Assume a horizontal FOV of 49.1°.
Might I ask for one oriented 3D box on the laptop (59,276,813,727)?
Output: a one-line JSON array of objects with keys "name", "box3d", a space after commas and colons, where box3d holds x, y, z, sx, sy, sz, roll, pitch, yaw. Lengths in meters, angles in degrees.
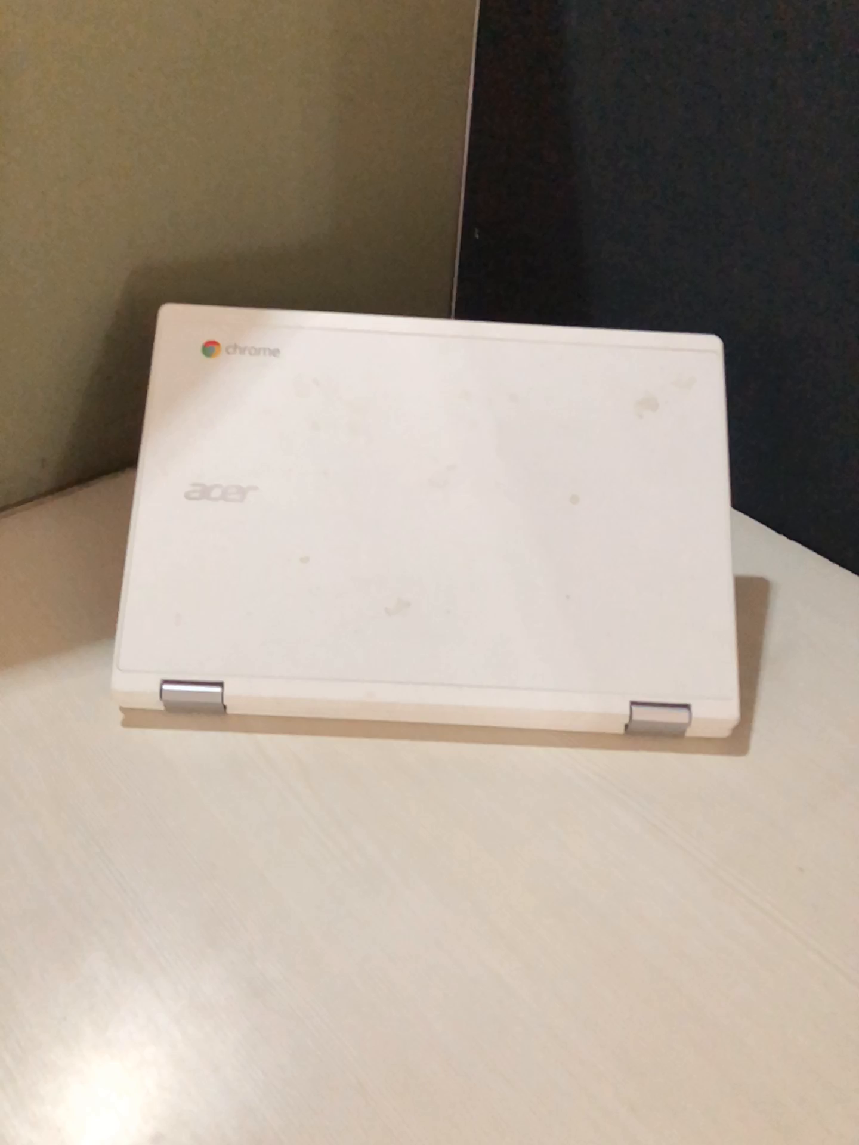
[{"name": "laptop", "box3d": [0.001, -0.043, 0.460, 0.285, 0.114, 0.188, 2, 40, -1]}]
